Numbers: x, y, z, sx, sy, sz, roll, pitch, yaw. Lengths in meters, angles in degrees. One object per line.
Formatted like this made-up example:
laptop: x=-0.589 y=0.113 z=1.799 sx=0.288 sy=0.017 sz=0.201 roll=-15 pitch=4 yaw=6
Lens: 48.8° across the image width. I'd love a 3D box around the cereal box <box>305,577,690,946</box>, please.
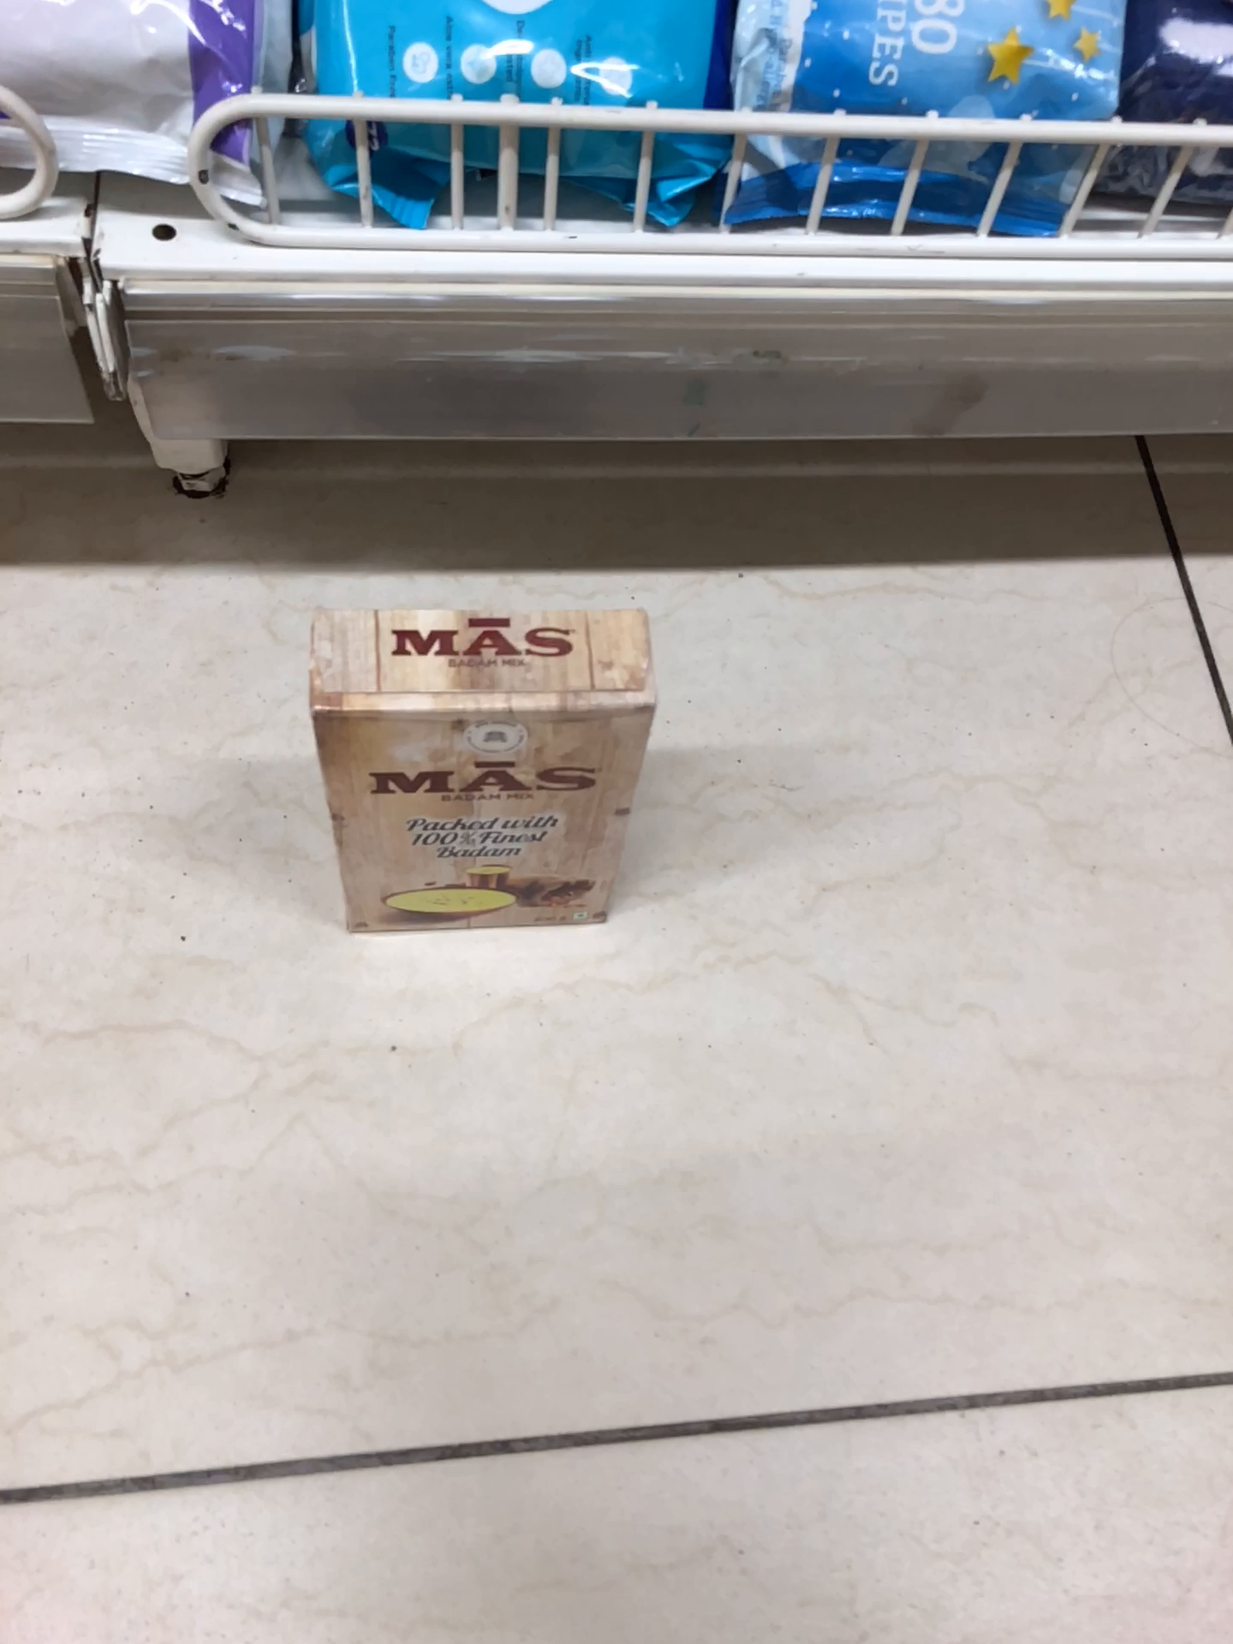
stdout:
cereal box: x=-0.036 y=-0.012 z=0.383 sx=0.090 sy=0.130 sz=0.040 roll=-2 pitch=61 yaw=-8
